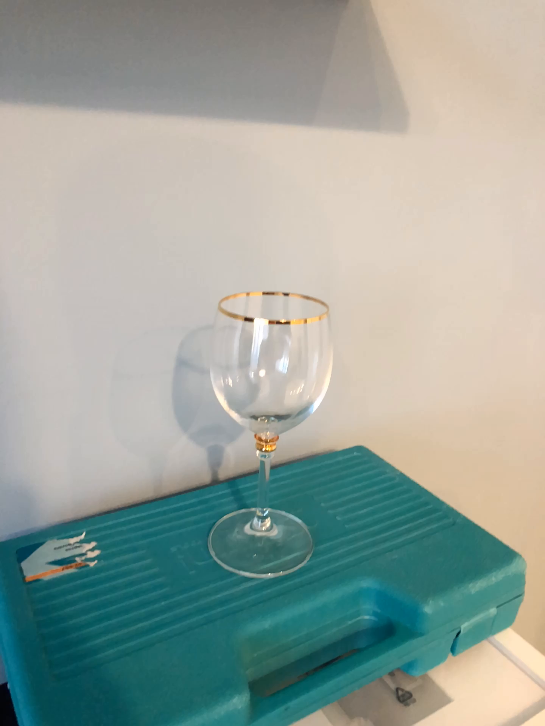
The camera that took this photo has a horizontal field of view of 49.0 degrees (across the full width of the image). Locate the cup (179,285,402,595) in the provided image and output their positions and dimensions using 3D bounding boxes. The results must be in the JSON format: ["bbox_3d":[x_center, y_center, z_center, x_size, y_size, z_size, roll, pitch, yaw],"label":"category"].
[{"bbox_3d":[0.004,0.041,0.396,0.100,0.159,0.100,3,20,-1],"label":"cup"}]
